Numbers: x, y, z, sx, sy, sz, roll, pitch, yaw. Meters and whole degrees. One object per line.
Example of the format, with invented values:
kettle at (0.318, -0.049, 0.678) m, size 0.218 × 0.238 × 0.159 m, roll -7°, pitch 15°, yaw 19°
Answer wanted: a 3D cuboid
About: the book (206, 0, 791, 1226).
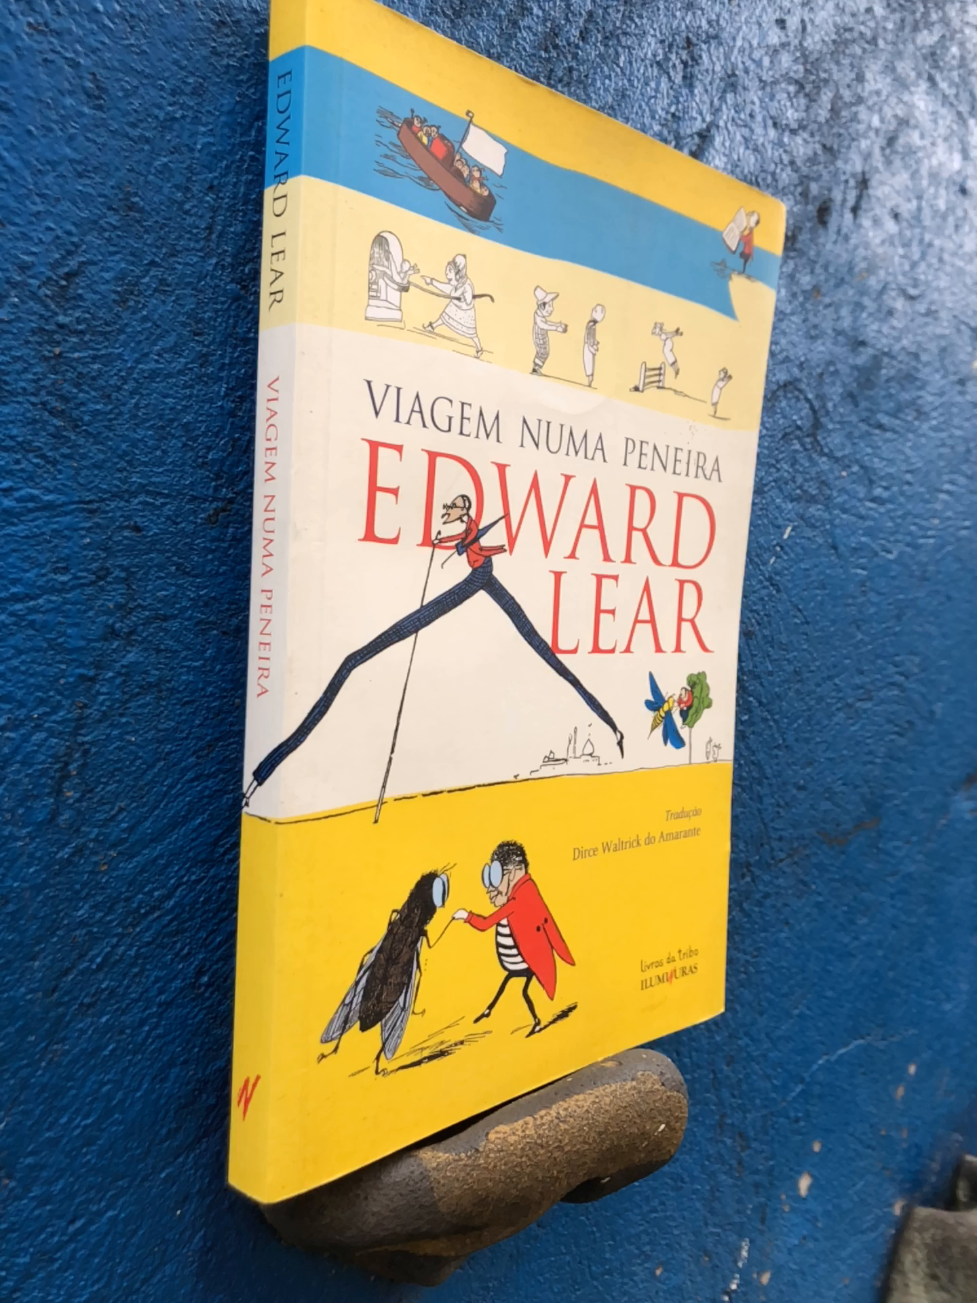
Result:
book at (0.015, -0.011, 0.250) m, size 0.021 × 0.220 × 0.158 m, roll 5°, pitch 3°, yaw 43°
